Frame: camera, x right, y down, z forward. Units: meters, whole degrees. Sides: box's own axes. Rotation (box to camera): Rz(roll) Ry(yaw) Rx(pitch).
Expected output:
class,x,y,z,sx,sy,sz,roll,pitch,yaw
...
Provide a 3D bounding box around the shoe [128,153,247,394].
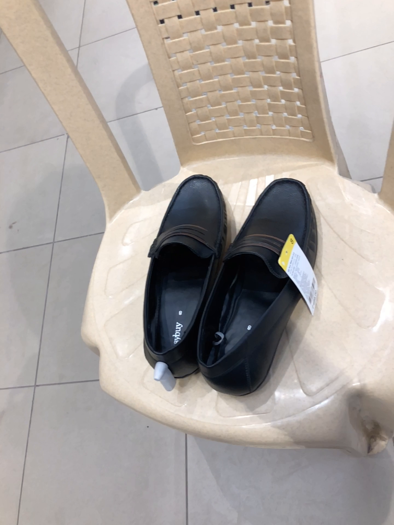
class,x,y,z,sx,sy,sz,roll,pitch,yaw
shoe,-0.001,0.013,0.536,0.100,0.088,0.276,-4,66,20

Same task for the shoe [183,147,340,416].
class,x,y,z,sx,sy,sz,roll,pitch,yaw
shoe,0.084,0.013,0.496,0.100,0.088,0.283,8,71,25
